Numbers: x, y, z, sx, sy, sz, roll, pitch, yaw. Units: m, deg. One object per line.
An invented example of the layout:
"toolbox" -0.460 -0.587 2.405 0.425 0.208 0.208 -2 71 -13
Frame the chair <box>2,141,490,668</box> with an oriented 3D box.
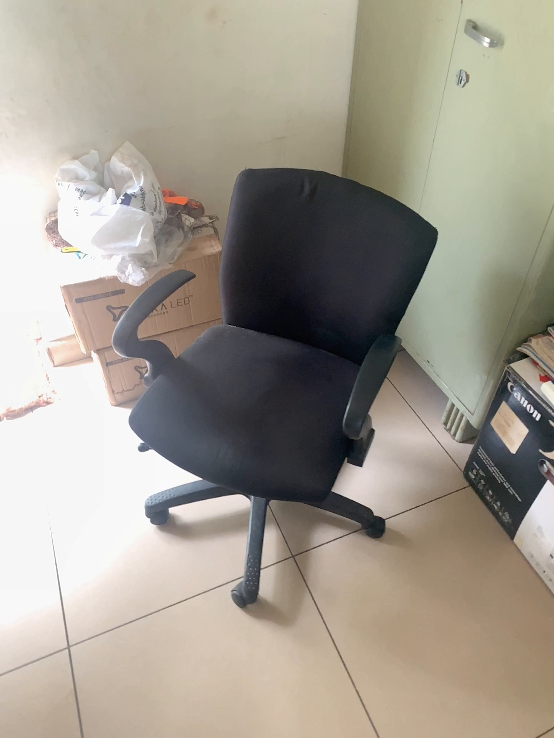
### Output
"chair" -0.002 0.088 1.390 0.701 0.927 0.702 16 46 15
